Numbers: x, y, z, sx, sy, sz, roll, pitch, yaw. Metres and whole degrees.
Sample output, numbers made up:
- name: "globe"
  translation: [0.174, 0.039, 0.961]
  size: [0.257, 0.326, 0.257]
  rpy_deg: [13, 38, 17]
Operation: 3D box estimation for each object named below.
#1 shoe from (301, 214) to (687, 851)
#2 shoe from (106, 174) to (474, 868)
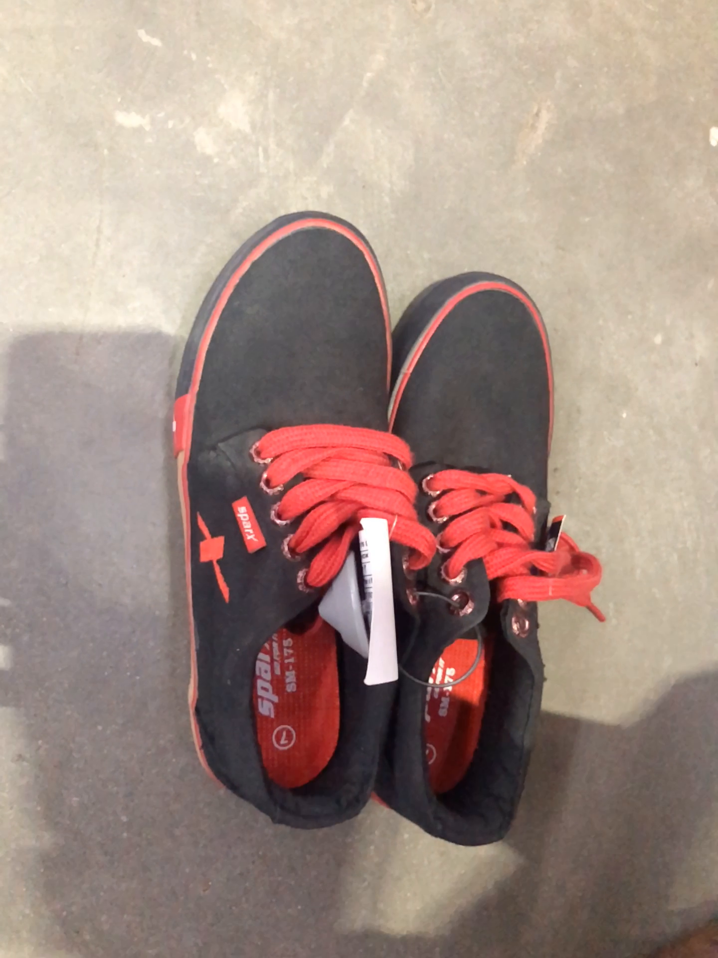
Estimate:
- name: "shoe"
  translation: [0.057, 0.025, 0.375]
  size: [0.100, 0.100, 0.250]
  rpy_deg: [11, 89, -19]
- name: "shoe"
  translation: [-0.034, 0.016, 0.355]
  size: [0.100, 0.100, 0.250]
  rpy_deg: [6, 90, -34]
